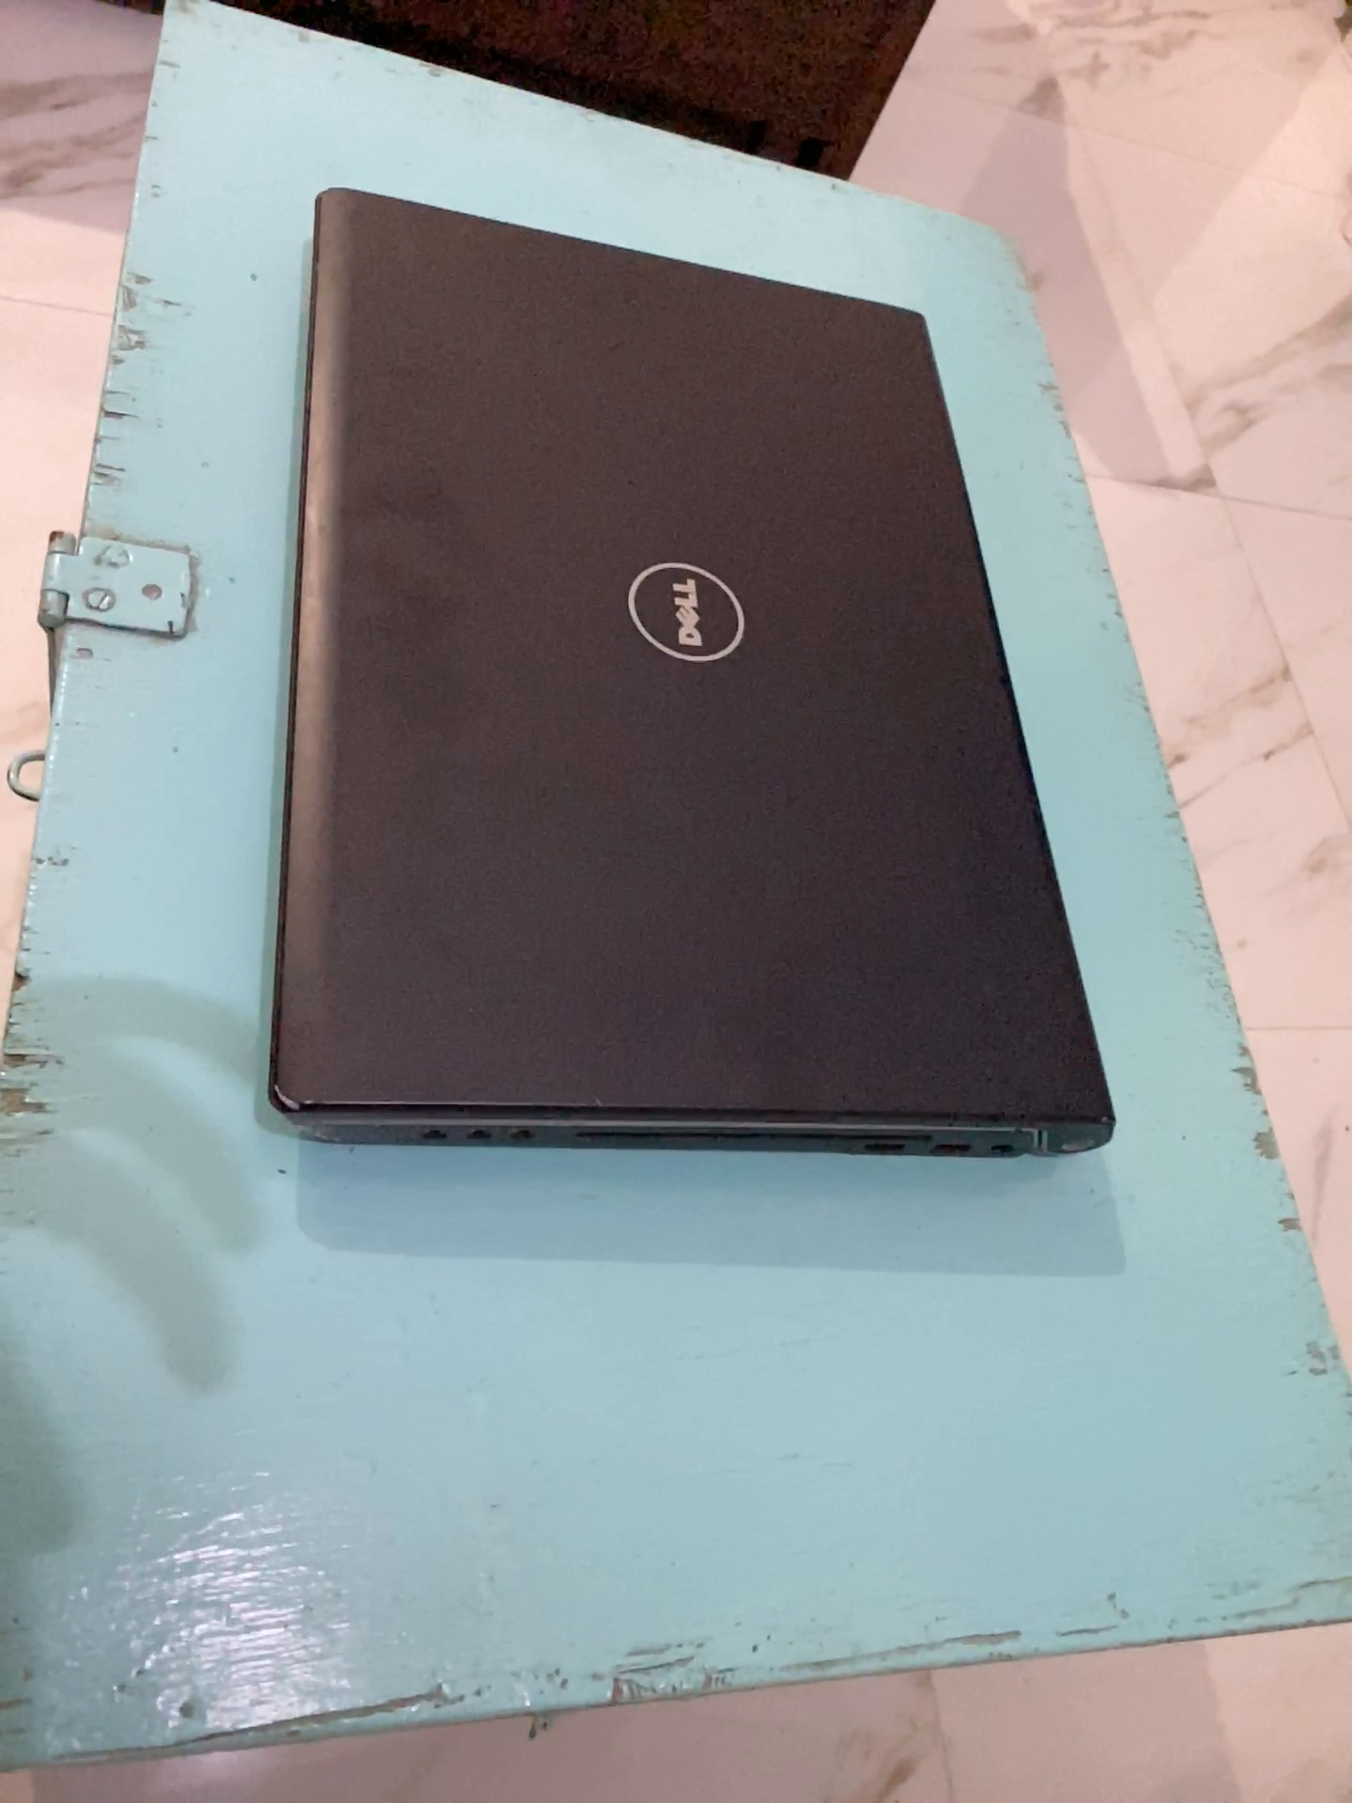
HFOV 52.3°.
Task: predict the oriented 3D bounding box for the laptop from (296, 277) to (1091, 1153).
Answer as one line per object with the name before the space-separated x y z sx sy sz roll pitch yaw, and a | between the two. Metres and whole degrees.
laptop | 0.005 -0.089 0.537 0.269 0.004 0.385 5 60 -17
